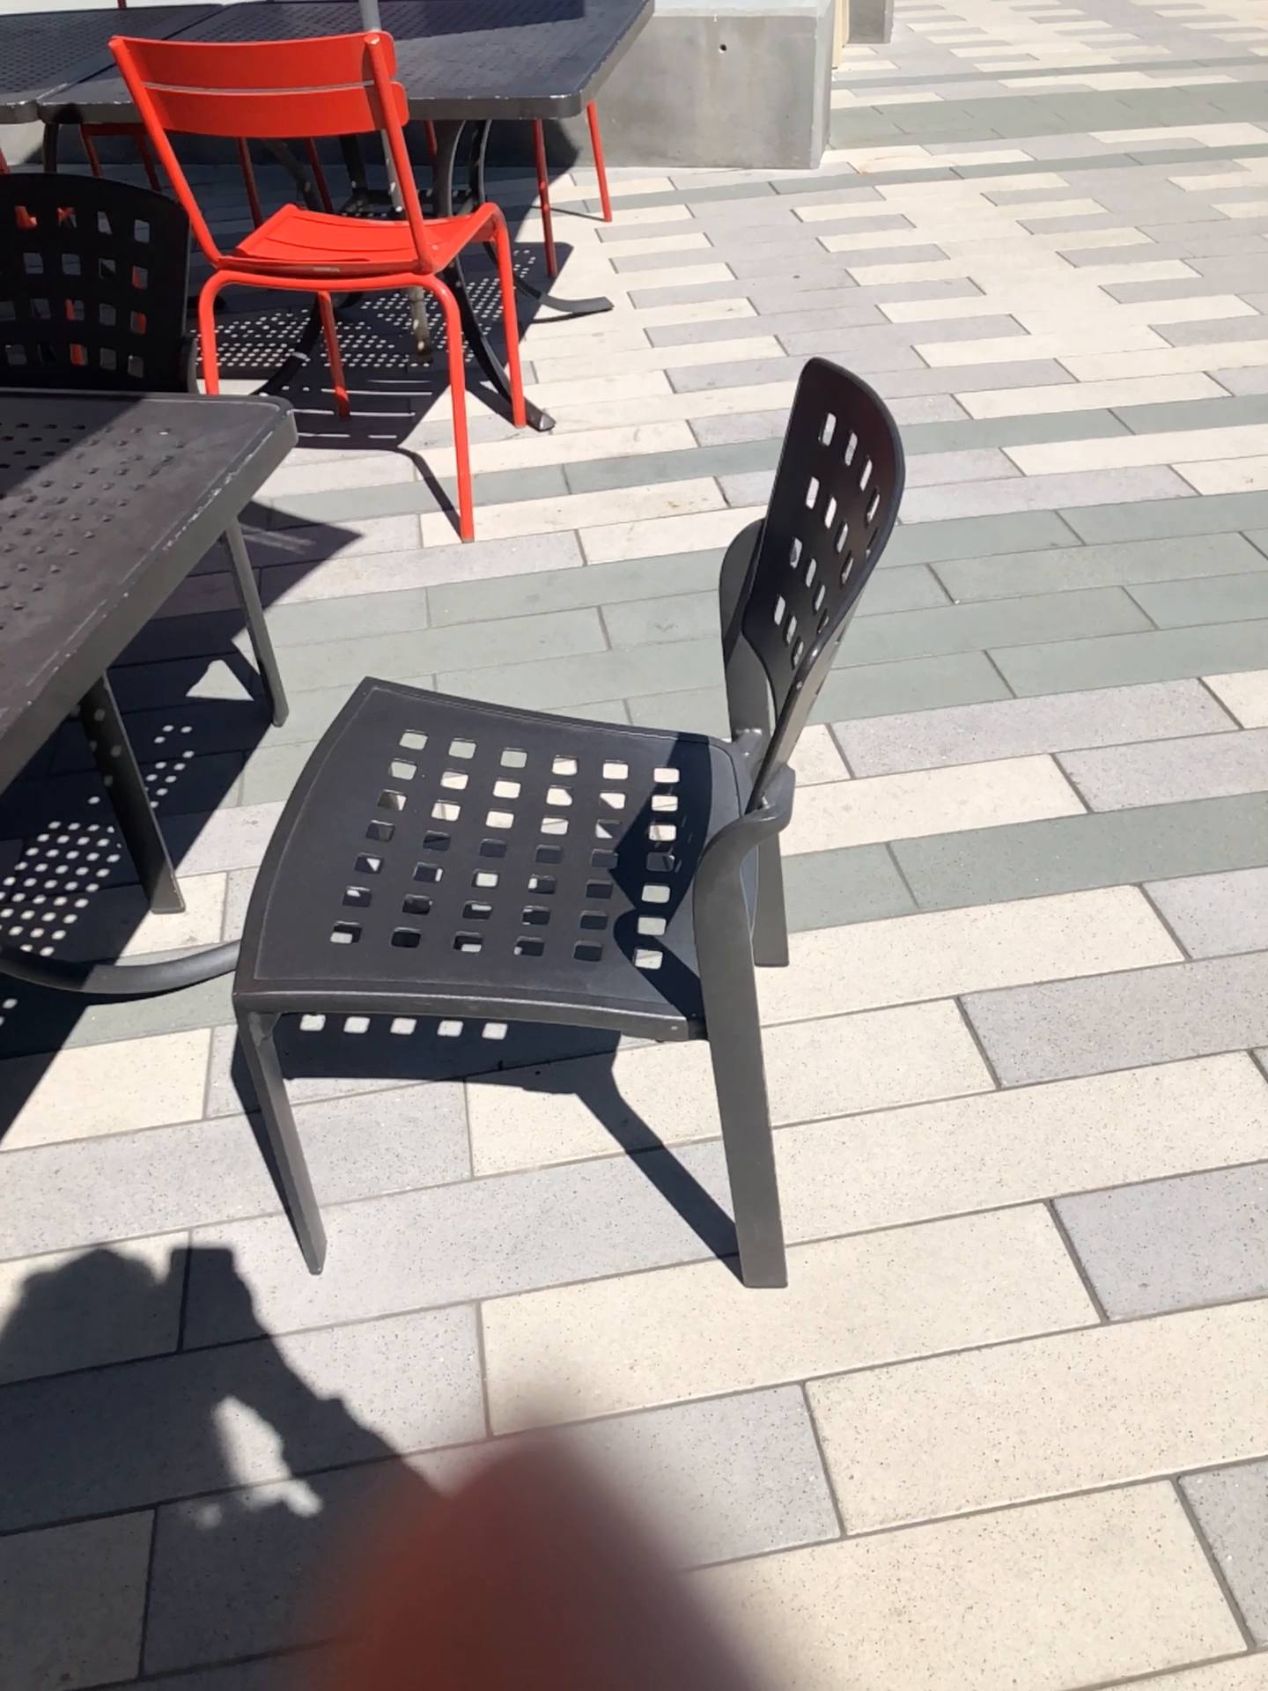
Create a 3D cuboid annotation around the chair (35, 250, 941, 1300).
[{"bbox_3d":[-0.091,-0.051,1.256,0.530,0.756,0.523,3,39,0],"label":"chair"}]
